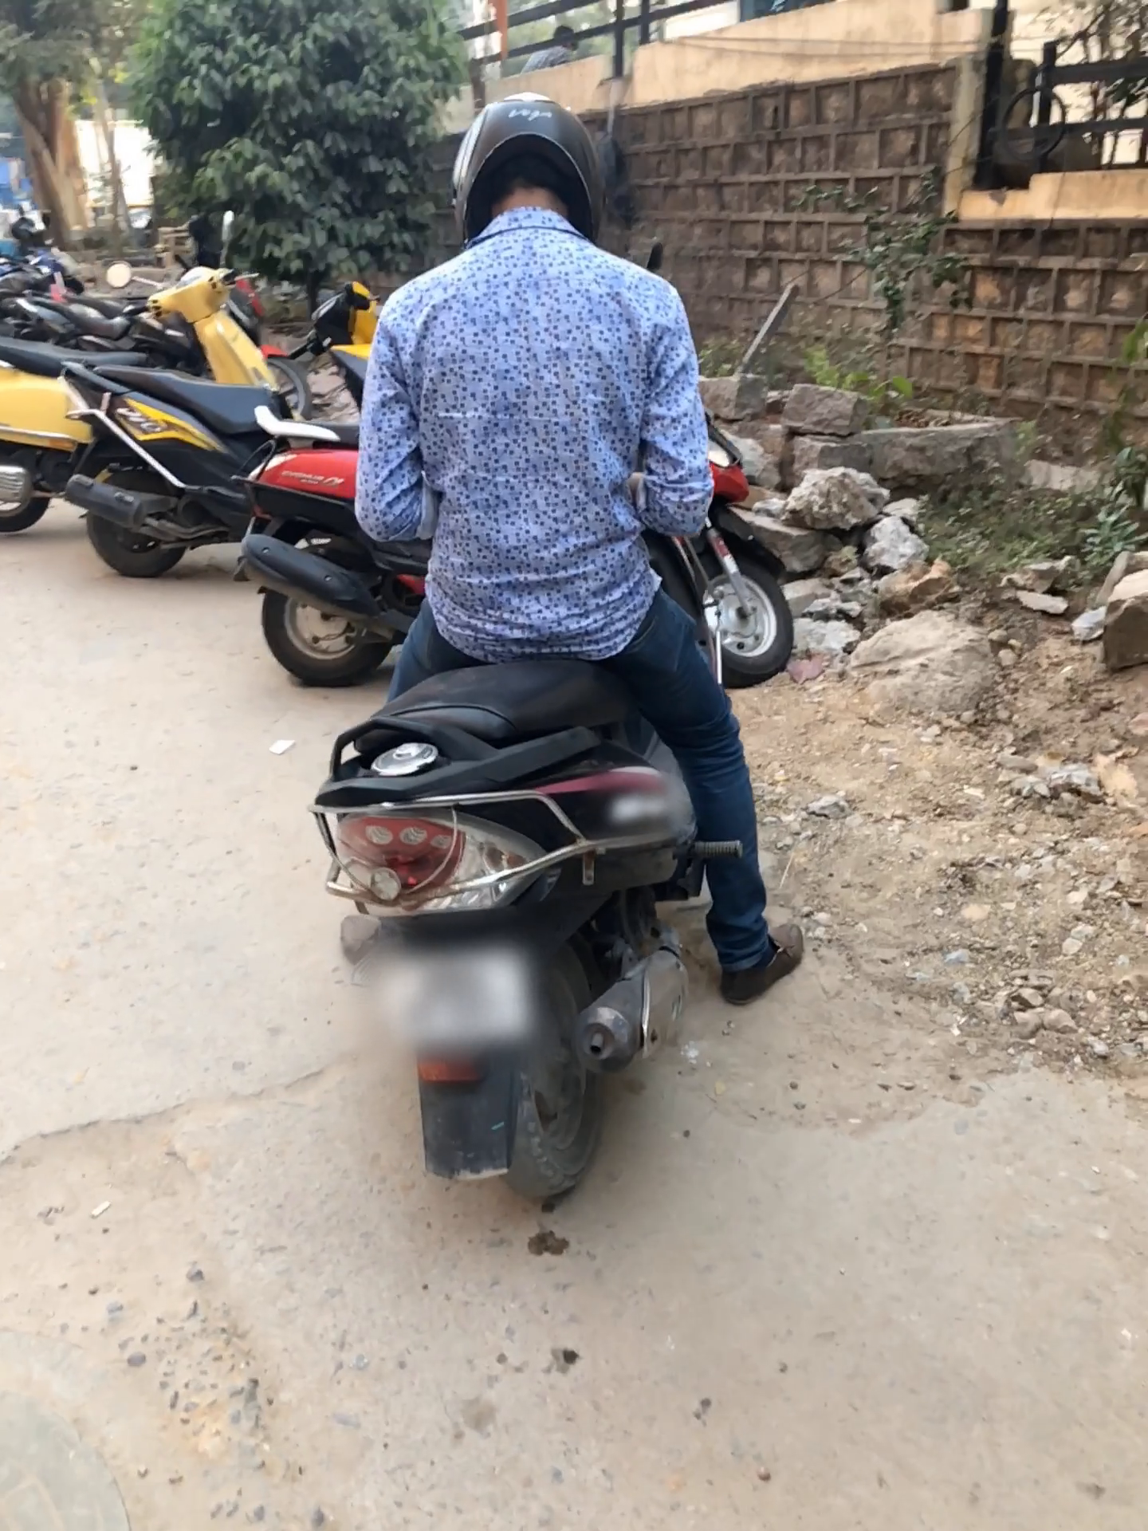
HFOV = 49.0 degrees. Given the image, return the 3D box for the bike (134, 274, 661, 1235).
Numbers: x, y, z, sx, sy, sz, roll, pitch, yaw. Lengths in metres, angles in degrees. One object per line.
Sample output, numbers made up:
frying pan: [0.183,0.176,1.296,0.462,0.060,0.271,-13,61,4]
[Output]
bike: [-0.164,-0.207,2.272,0.559,1.054,1.482,2,27,6]
